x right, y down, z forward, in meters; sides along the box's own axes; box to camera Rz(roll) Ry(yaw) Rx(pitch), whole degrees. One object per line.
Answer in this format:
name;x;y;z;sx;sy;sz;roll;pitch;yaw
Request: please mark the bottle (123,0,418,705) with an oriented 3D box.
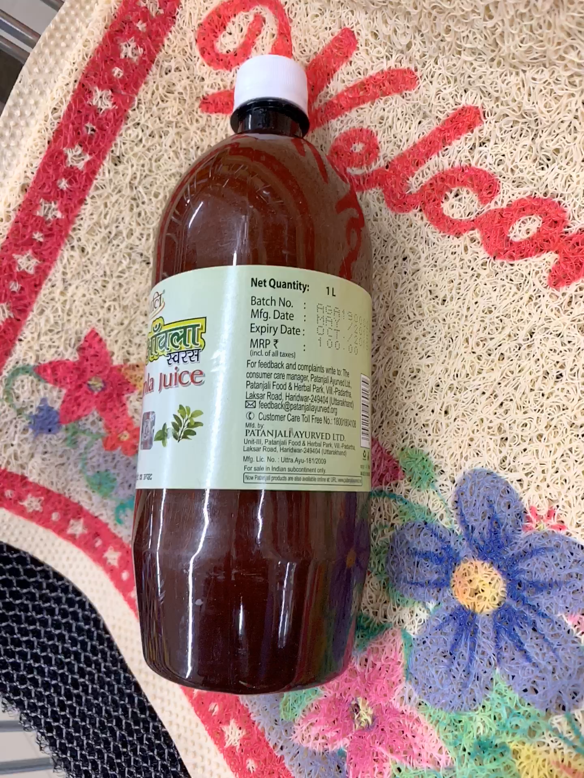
bottle;-0.005;-0.030;0.226;0.080;0.080;0.250;3;80;-7
